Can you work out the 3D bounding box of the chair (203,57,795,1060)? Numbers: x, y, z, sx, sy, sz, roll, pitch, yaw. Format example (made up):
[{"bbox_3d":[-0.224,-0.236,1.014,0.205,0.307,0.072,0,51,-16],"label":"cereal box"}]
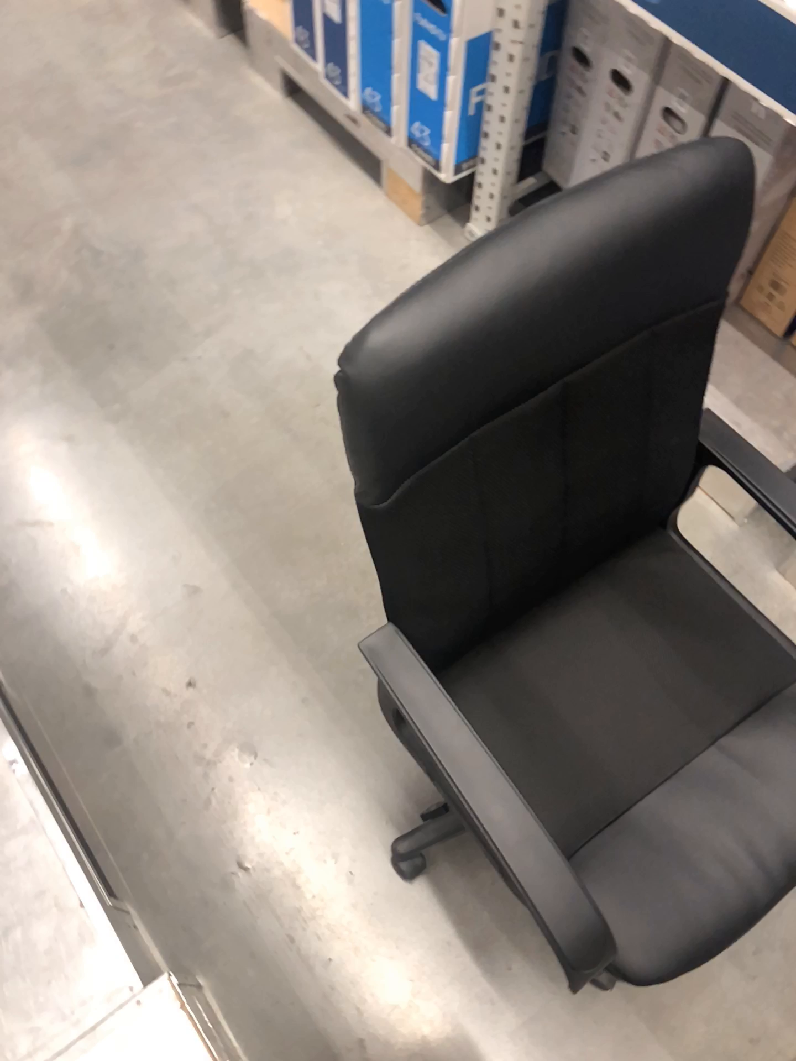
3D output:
[{"bbox_3d":[0.292,0.203,1.123,0.651,1.125,0.631,-34,67,-18],"label":"chair"}]
